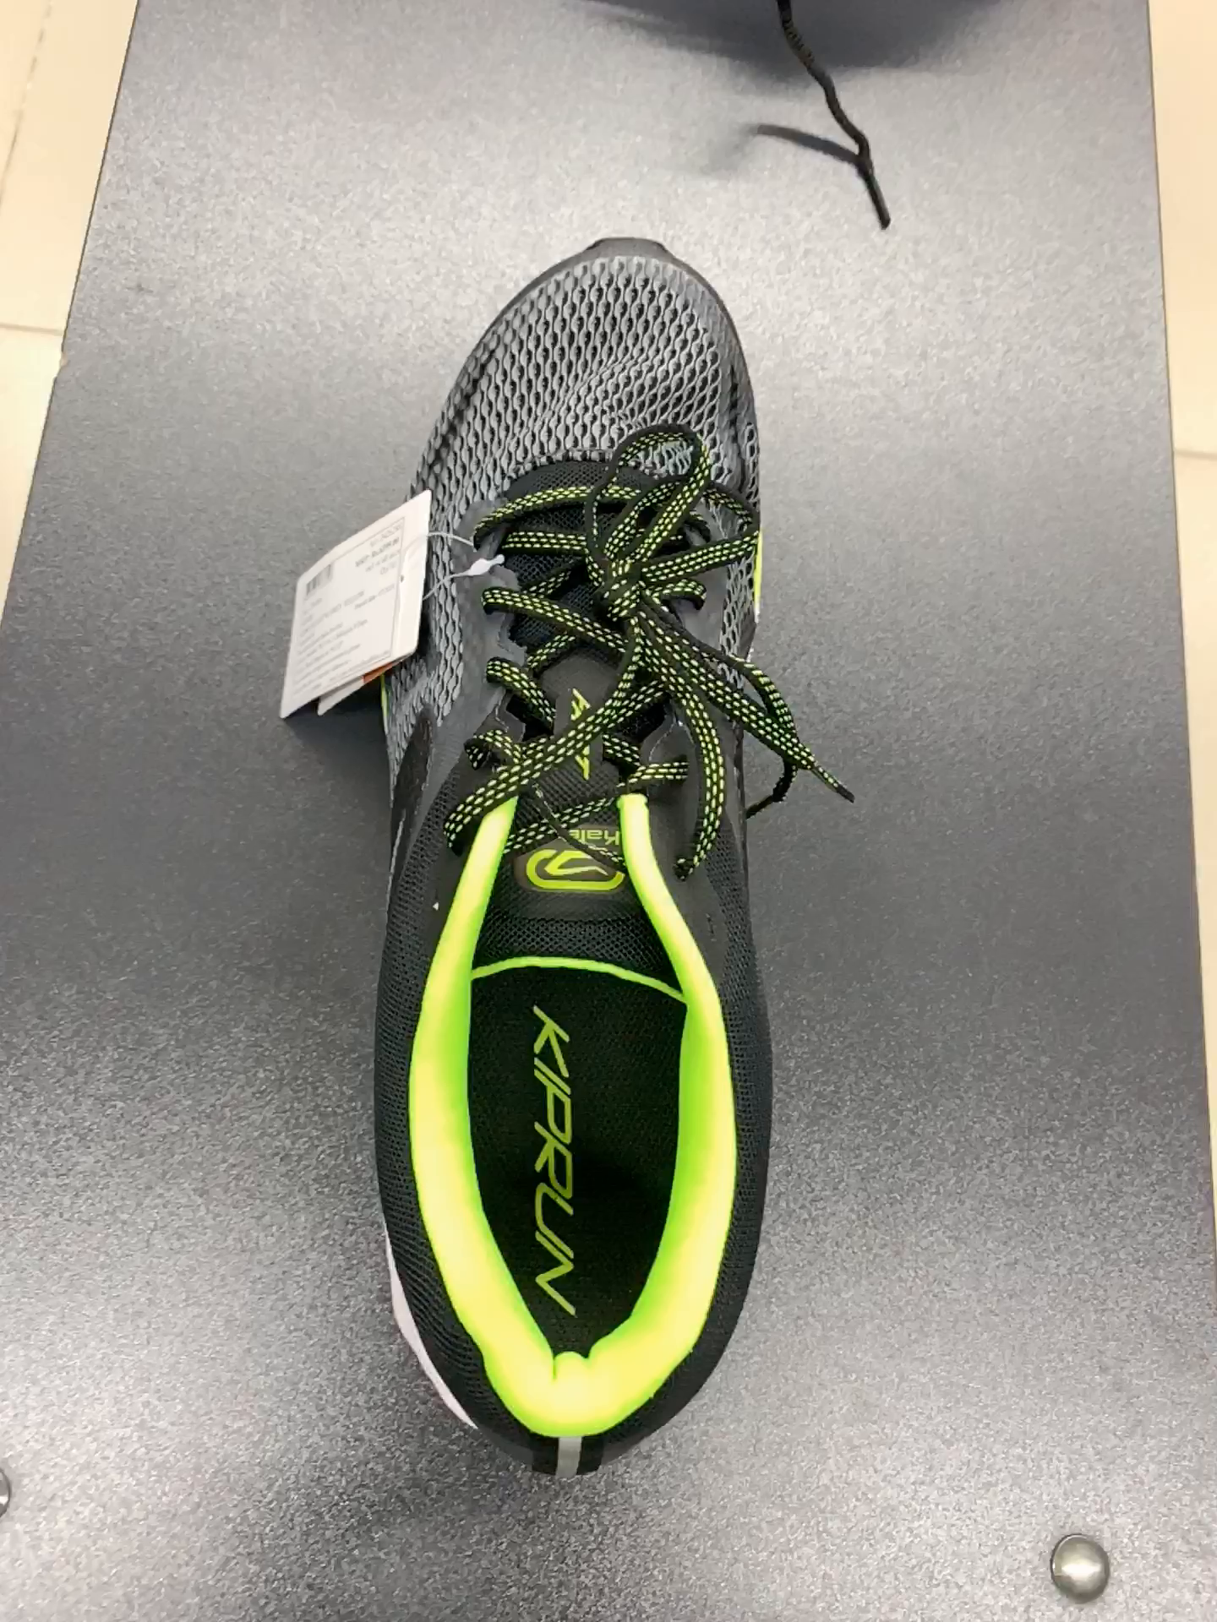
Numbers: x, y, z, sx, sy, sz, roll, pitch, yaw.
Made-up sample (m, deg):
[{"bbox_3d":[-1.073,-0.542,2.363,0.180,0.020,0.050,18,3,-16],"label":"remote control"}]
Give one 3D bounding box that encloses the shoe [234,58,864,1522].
[{"bbox_3d":[-0.008,-0.012,0.313,0.110,0.110,0.310,3,75,-3],"label":"shoe"}]
